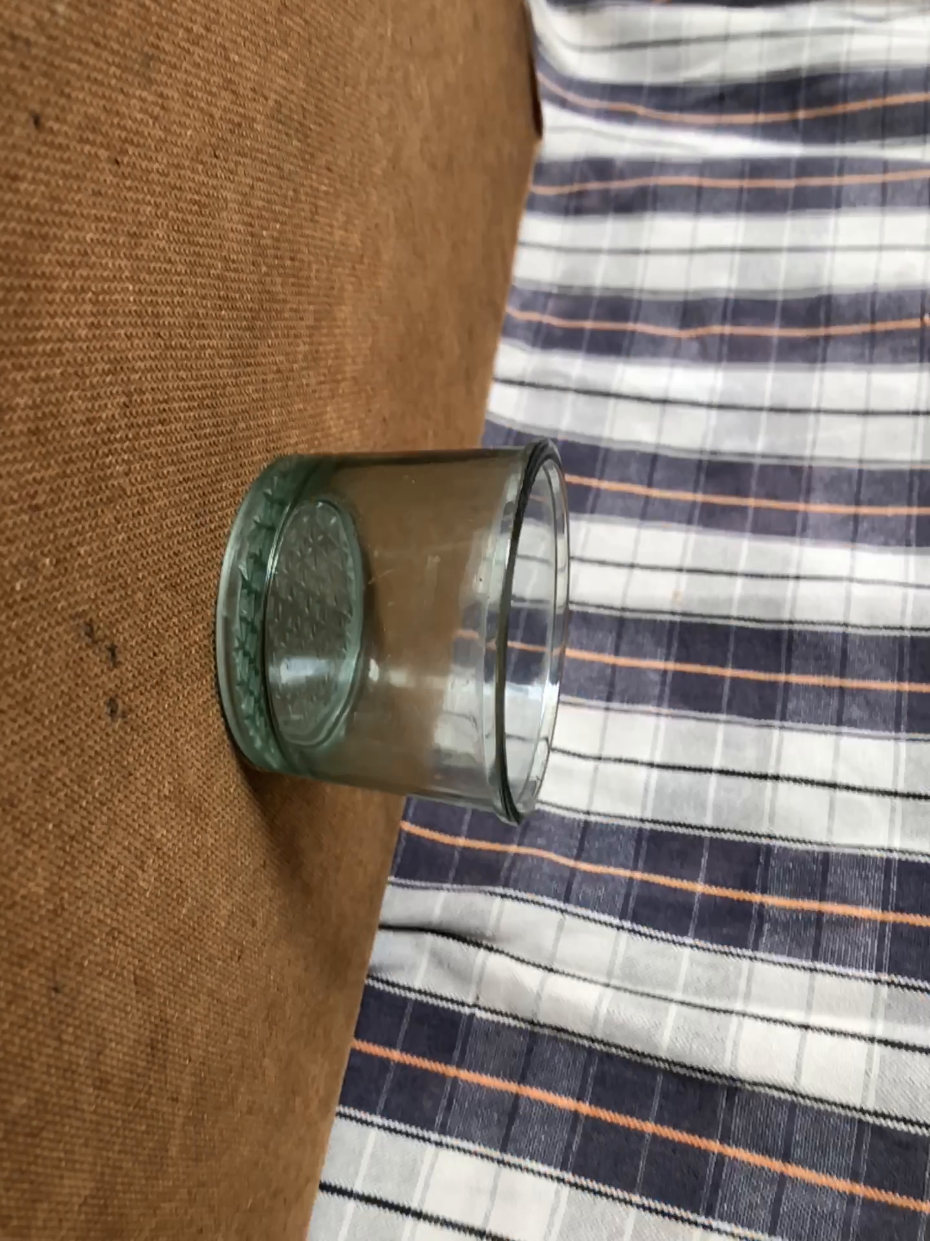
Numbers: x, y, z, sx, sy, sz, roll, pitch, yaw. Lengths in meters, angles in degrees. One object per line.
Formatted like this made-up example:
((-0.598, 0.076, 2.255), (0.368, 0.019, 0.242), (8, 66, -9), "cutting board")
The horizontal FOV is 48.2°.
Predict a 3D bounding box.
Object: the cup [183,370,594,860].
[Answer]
((-0.008, -0.006, 0.223), (0.080, 0.060, 0.070), (-67, 157, -56), "cup")
